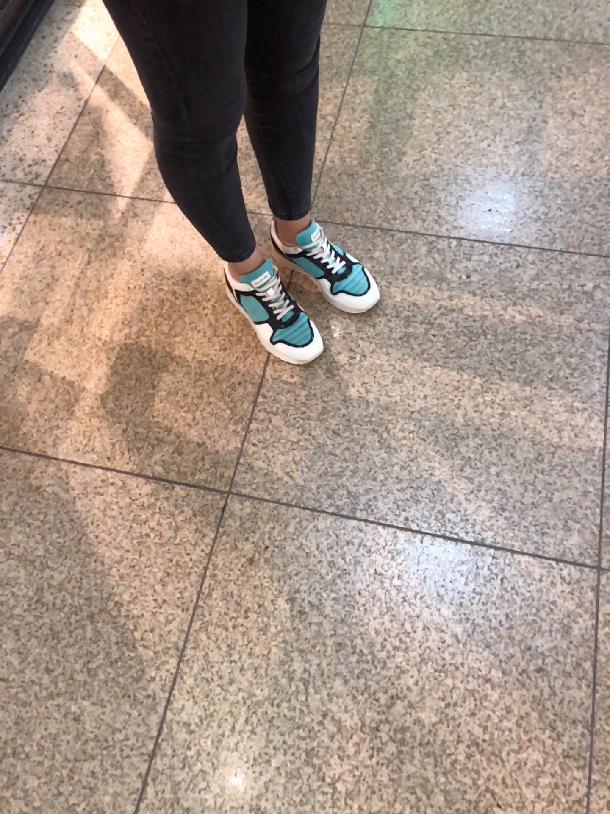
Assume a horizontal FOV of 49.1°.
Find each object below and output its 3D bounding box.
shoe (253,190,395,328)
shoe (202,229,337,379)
[{"bbox_3d":[0.035,-0.271,1.226,0.240,0.120,0.100,35,73,20],"label":"shoe"},{"bbox_3d":[-0.063,-0.186,1.205,0.100,0.120,0.240,-39,67,-13],"label":"shoe"}]
